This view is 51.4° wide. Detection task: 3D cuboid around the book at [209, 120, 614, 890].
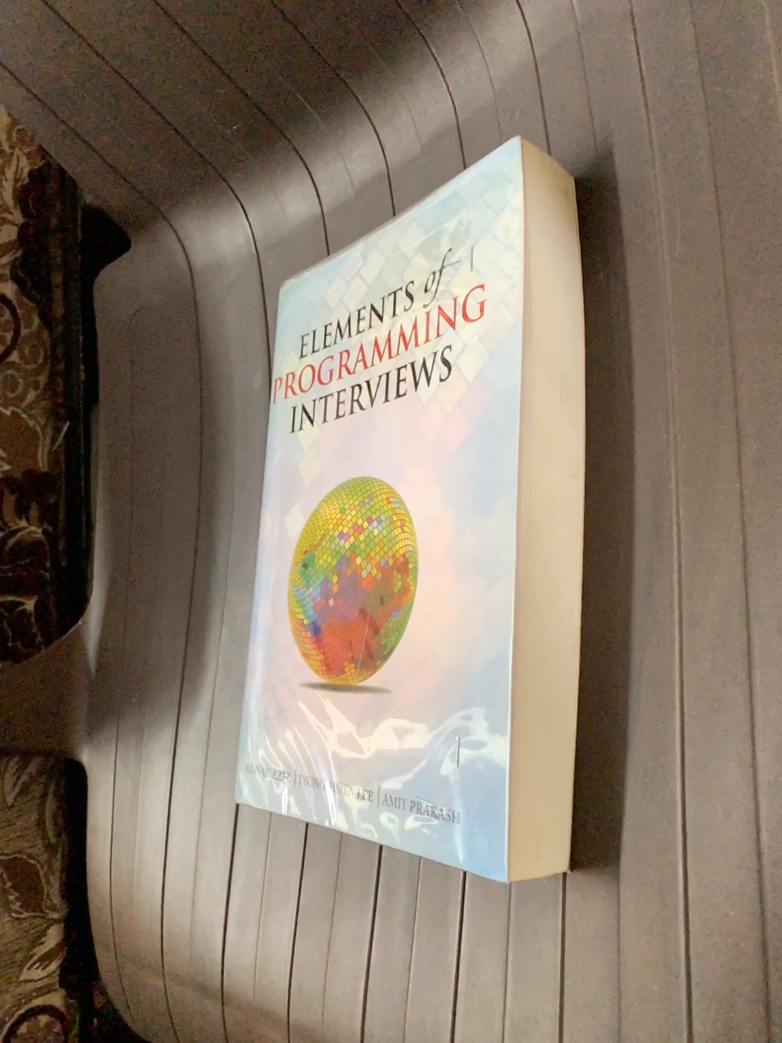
[{"bbox_3d":[0.002,-0.003,0.314,0.161,0.050,0.230,-9,74,49],"label":"book"}]
